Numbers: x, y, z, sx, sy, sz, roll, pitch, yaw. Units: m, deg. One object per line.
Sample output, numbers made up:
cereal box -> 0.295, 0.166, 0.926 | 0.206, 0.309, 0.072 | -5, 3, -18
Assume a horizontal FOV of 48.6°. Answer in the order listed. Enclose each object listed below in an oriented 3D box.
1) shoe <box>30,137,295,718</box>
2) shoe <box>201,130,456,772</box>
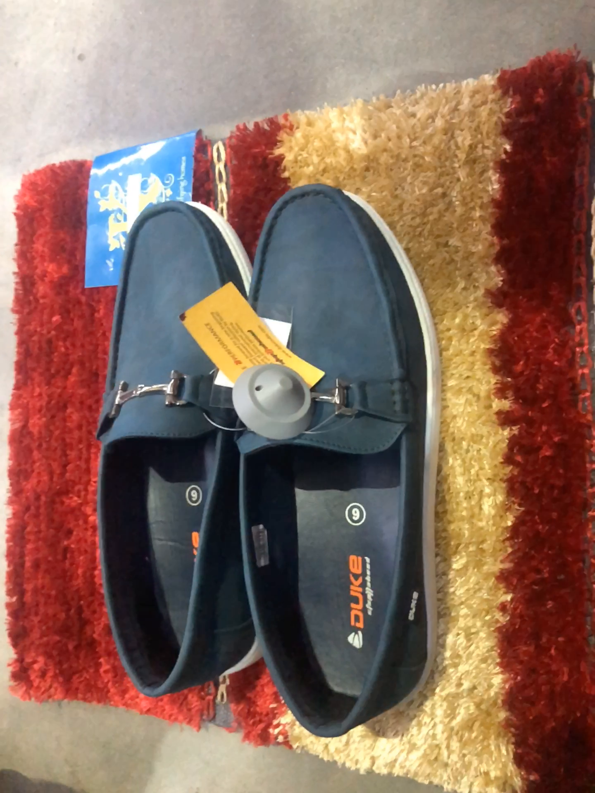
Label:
shoe -> -0.077, 0.016, 0.380 | 0.110, 0.090, 0.280 | -5, 84, 24
shoe -> 0.018, 0.024, 0.350 | 0.100, 0.090, 0.280 | -4, 85, 24
